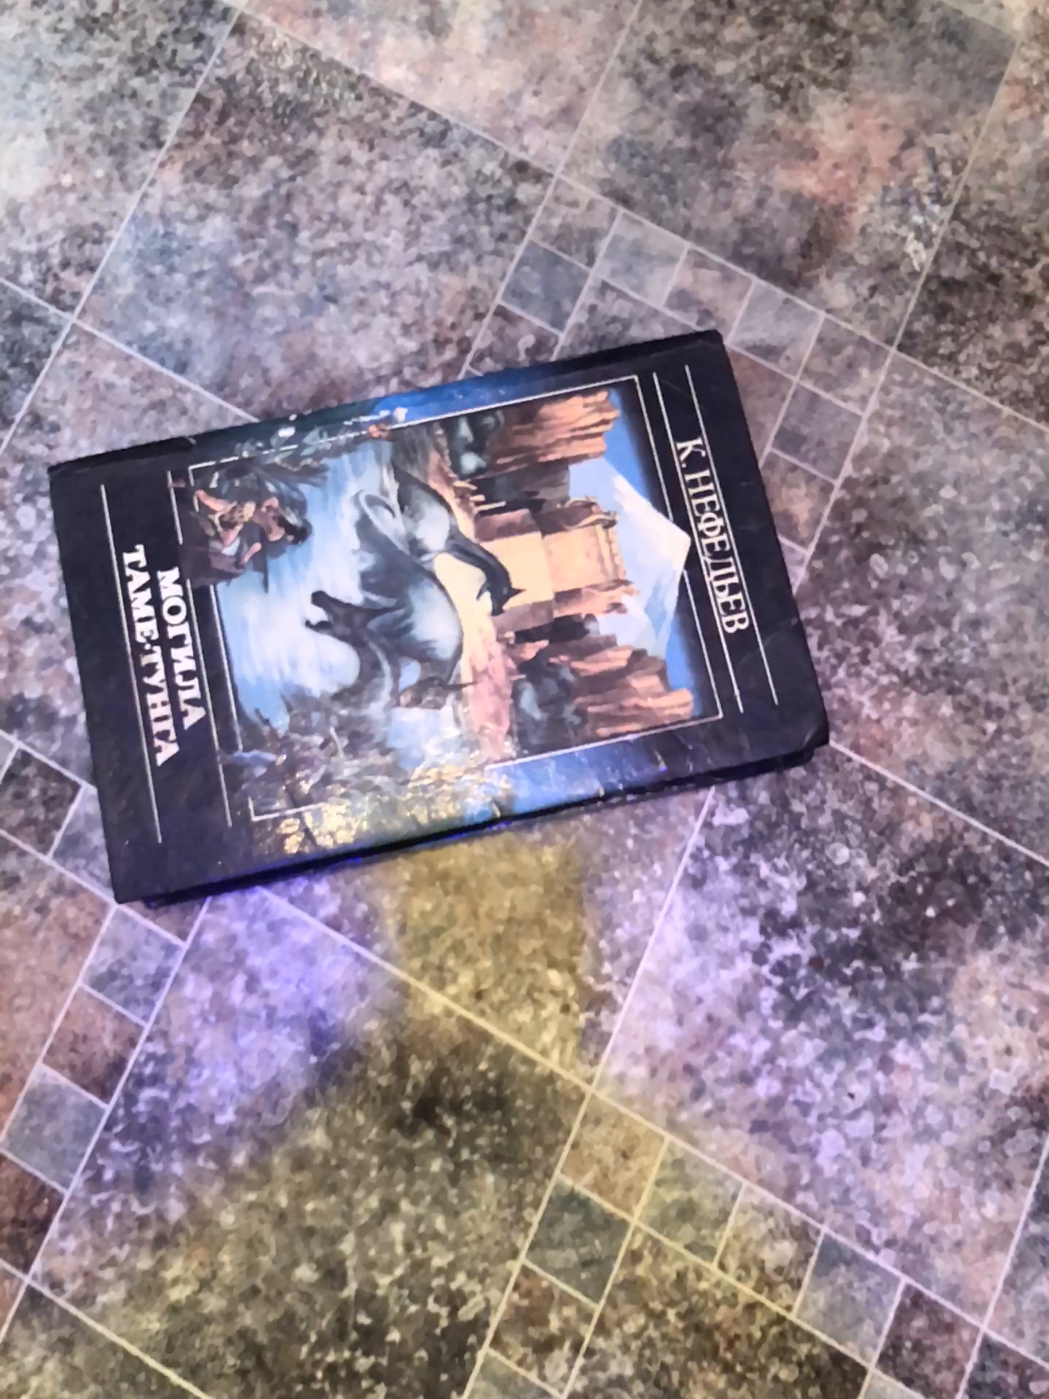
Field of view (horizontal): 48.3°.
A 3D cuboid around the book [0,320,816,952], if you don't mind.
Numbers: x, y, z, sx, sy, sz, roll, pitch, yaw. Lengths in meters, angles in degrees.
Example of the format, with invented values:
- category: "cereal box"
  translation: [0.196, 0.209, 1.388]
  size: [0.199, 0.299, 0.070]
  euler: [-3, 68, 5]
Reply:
- category: "book"
  translation: [-0.035, -0.019, 0.335]
  size: [0.201, 0.030, 0.139]
  euler: [-12, 80, -1]
